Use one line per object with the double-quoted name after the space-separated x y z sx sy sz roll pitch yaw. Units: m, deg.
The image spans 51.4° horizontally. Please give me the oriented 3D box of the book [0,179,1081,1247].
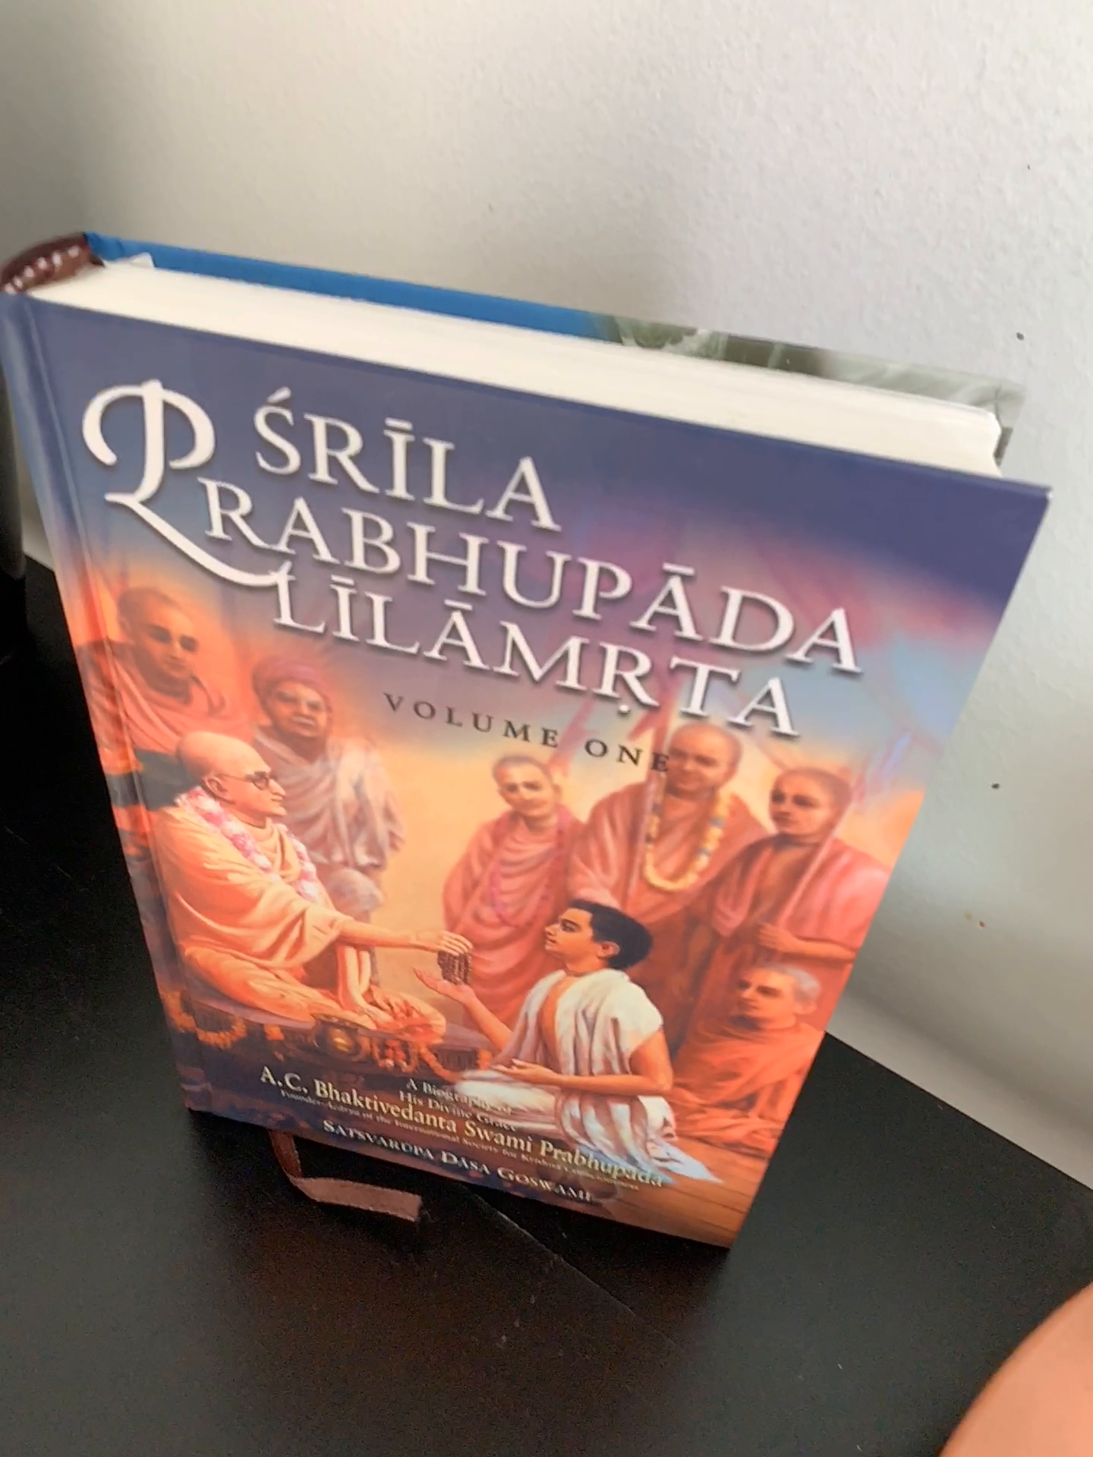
-0.016 0.023 0.244 0.161 0.232 0.030 13 42 7 "book"
